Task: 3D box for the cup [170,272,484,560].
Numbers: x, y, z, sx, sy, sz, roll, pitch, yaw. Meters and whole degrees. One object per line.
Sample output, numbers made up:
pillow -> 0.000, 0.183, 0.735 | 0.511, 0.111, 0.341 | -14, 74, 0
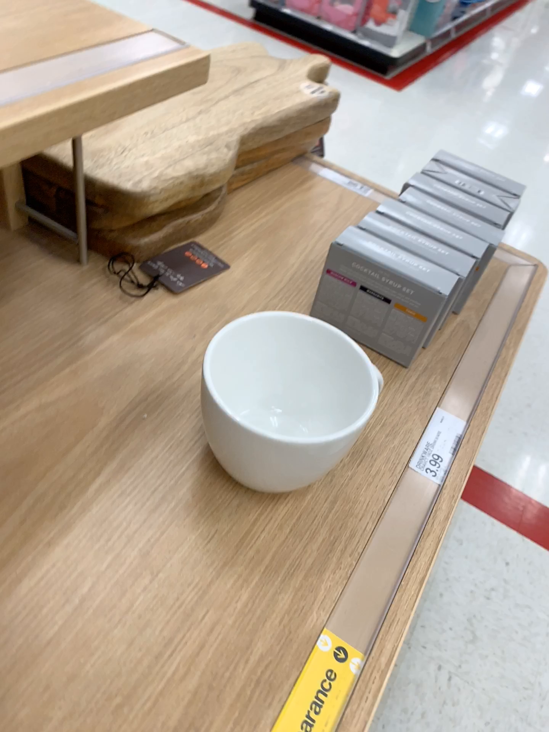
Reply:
cup -> 0.027, 0.022, 0.349 | 0.140, 0.080, 0.110 | -21, 56, -30
